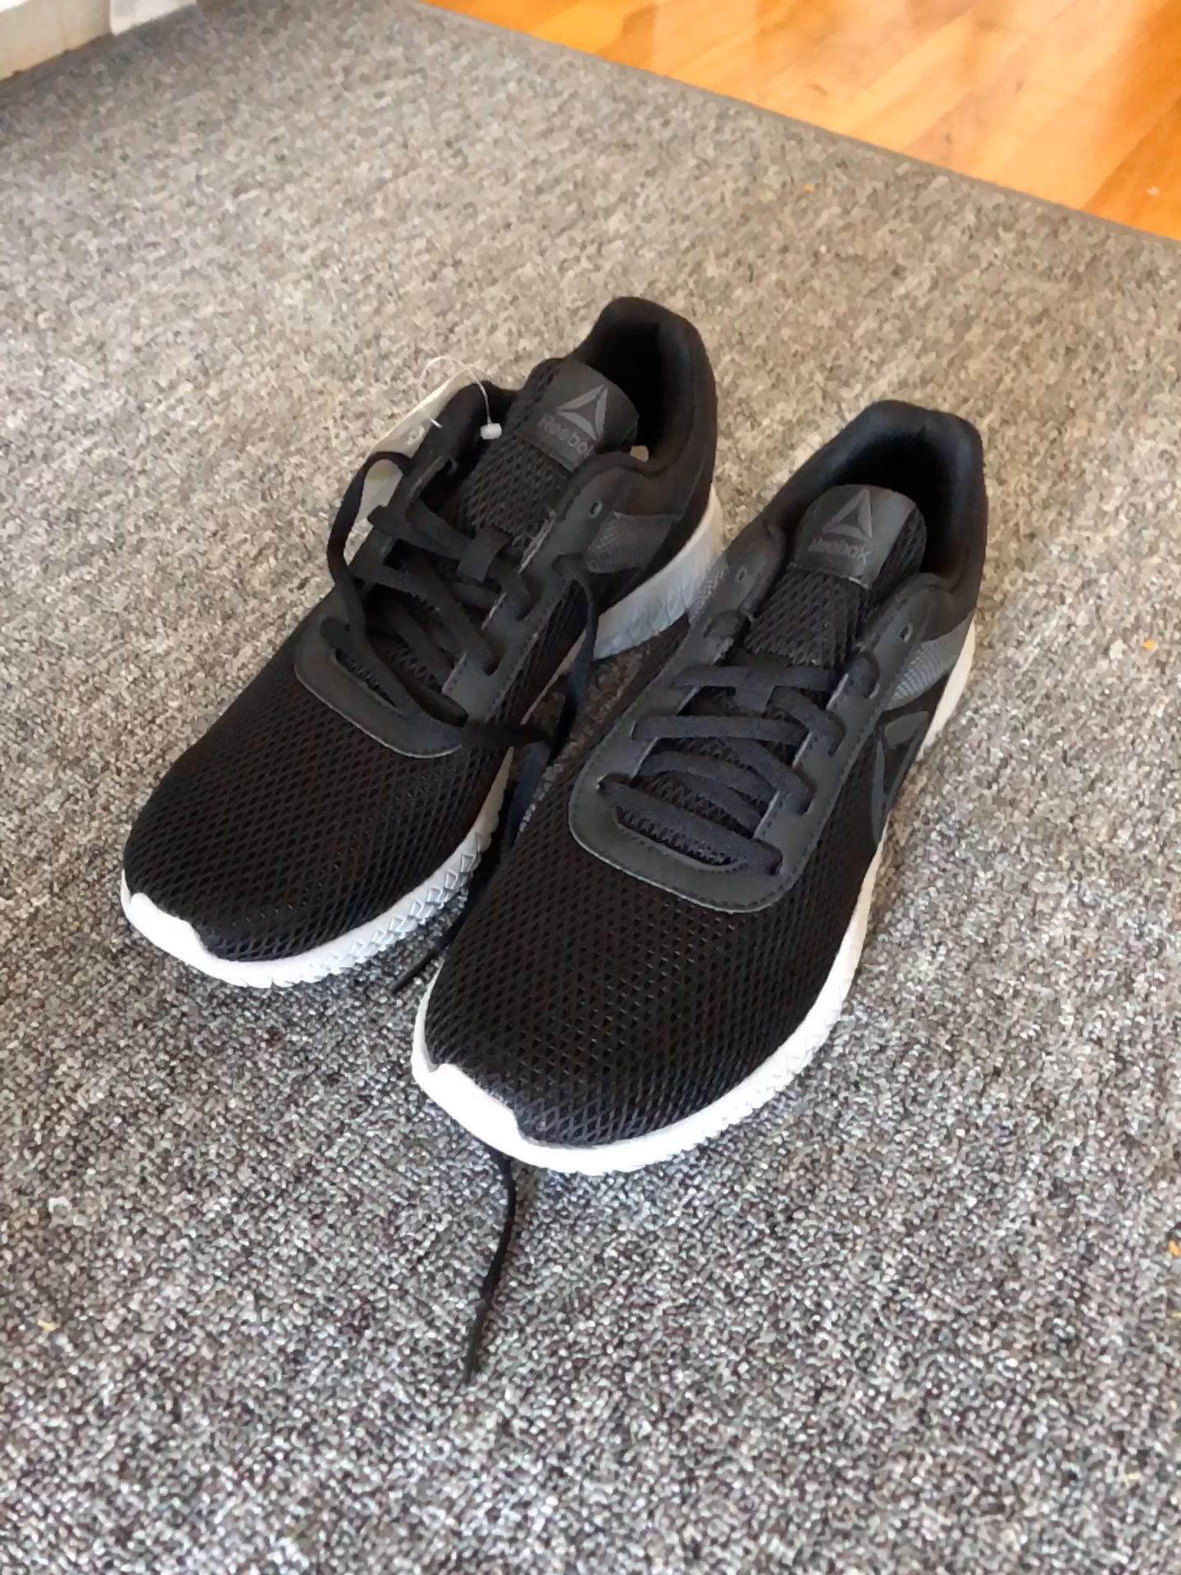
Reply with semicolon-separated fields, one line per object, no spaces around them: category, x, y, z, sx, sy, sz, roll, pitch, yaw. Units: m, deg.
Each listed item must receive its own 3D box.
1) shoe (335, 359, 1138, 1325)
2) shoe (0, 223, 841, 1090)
shoe;0.062;-0.007;0.417;0.110;0.099;0.302;26;53;18
shoe;-0.042;-0.066;0.438;0.116;0.099;0.302;27;54;19
